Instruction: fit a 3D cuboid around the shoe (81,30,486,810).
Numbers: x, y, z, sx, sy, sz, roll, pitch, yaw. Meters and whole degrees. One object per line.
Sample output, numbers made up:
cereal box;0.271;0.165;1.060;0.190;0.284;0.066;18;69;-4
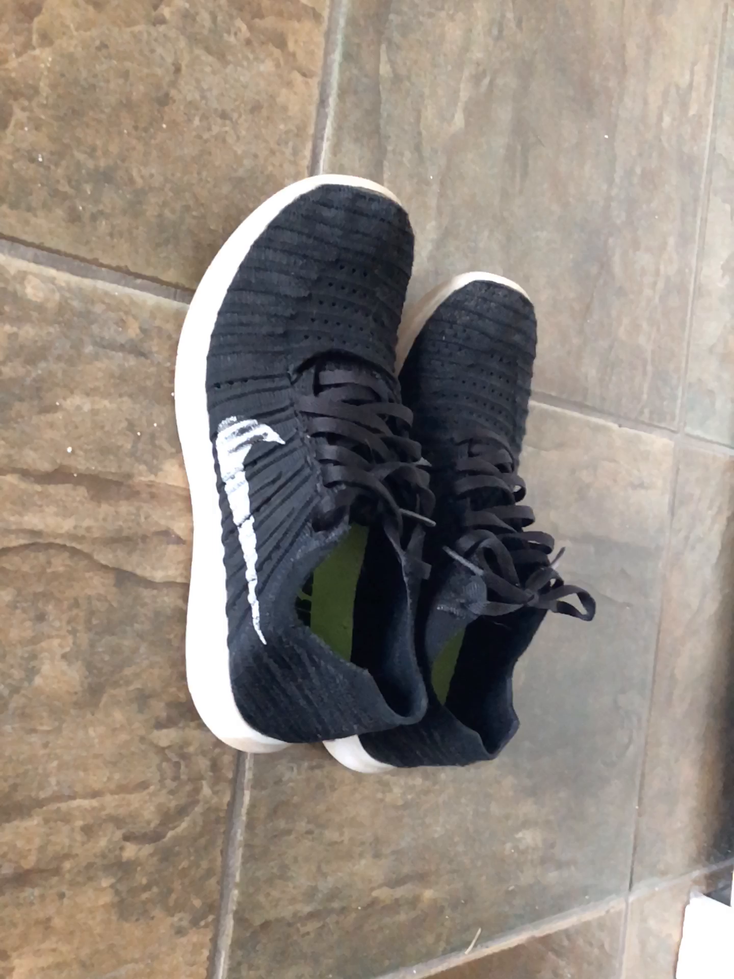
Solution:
shoe;-0.034;-0.021;0.332;0.100;0.090;0.260;9;87;-38

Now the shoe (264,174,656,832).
shoe;0.045;0.009;0.376;0.100;0.090;0.260;16;83;-37
